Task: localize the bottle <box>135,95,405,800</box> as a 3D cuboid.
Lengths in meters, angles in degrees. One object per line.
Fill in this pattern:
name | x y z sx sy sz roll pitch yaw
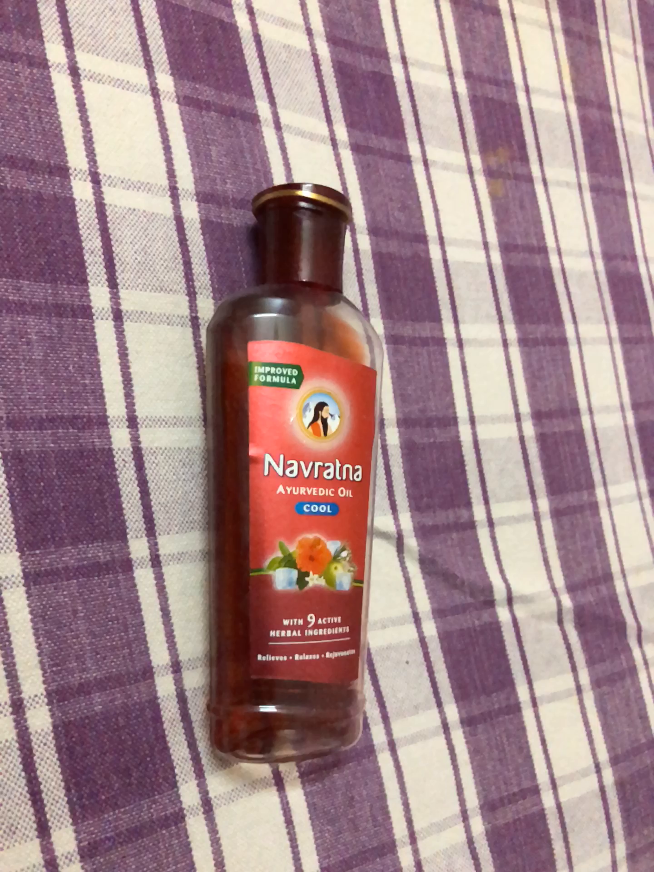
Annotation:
bottle | -0.018 0.002 0.246 0.070 0.050 0.200 5 82 -31
